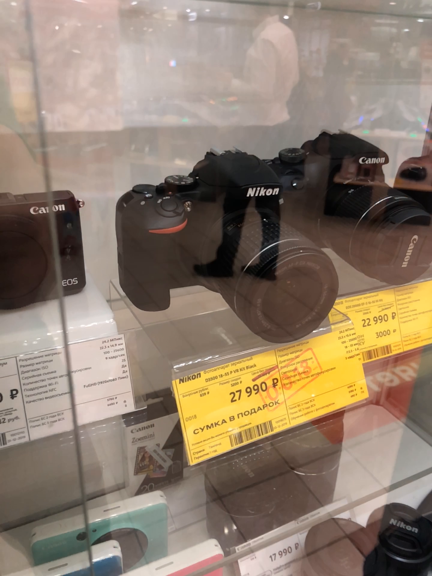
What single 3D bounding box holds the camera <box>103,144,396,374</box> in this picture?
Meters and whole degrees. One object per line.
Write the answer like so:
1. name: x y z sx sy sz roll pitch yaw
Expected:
1. camera: 0.011 -0.032 0.301 0.130 0.092 0.120 -10 27 -24
